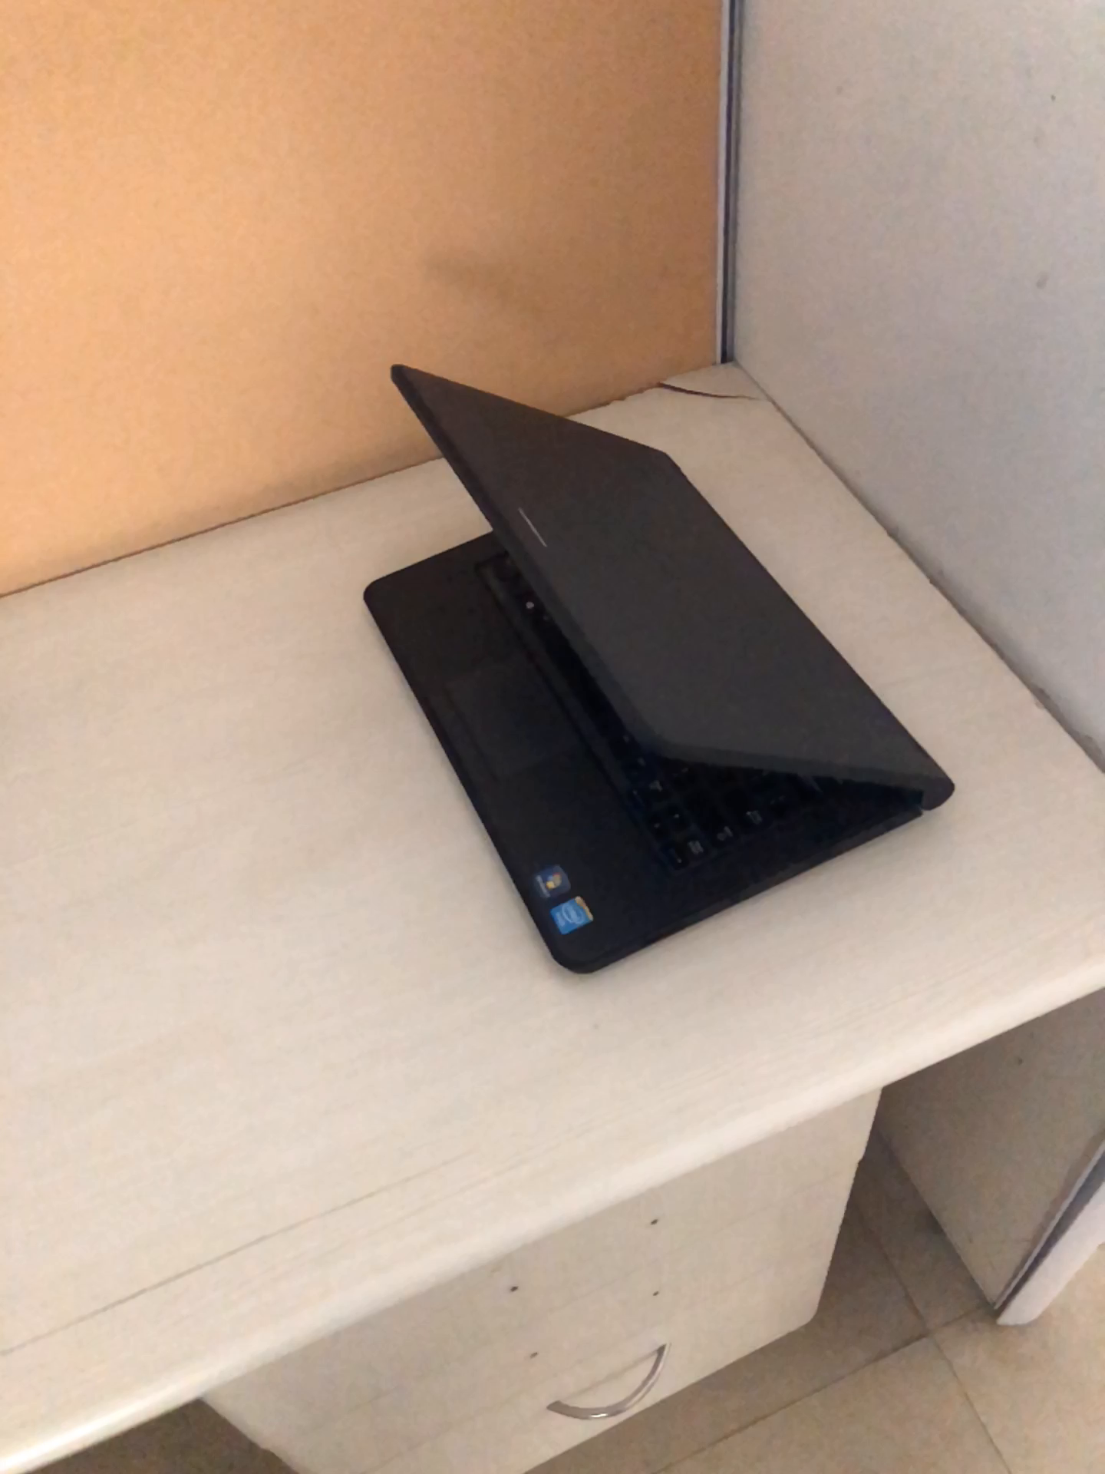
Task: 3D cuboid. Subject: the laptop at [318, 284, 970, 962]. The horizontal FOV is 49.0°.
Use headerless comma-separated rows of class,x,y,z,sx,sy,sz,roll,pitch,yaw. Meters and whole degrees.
laptop,0.034,-0.082,0.686,0.216,0.154,0.319,-22,51,-12
